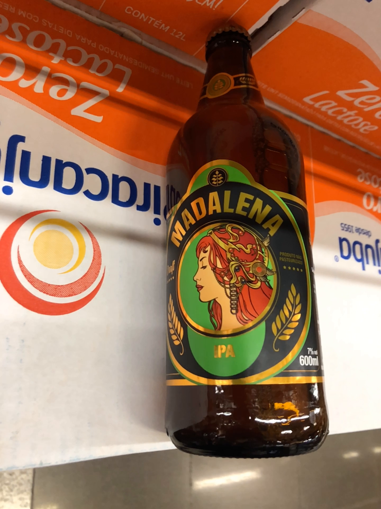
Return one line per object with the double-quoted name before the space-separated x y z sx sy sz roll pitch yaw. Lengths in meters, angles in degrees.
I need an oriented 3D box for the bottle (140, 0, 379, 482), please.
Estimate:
"bottle" 0.032 -0.039 0.243 0.100 0.060 0.280 9 71 -33
